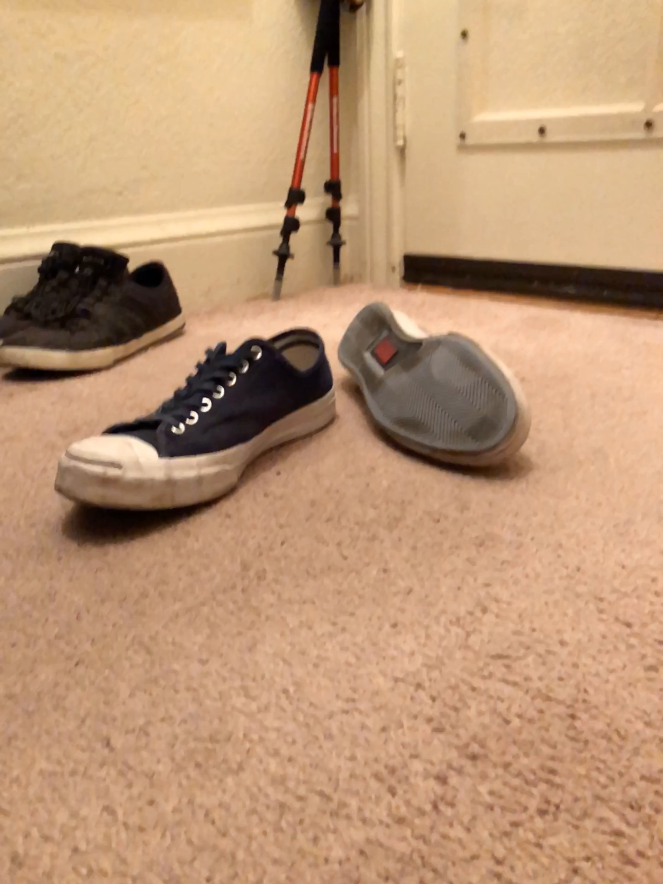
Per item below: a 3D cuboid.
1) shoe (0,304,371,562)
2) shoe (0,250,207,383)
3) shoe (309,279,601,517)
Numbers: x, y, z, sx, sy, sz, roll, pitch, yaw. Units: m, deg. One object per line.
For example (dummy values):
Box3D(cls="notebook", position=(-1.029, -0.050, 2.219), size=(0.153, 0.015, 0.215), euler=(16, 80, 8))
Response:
Box3D(cls="shoe", position=(-0.095, -0.029, 0.578), size=(0.116, 0.099, 0.287), euler=(13, 26, 33))
Box3D(cls="shoe", position=(-0.271, -0.163, 0.880), size=(0.106, 0.099, 0.297), euler=(7, 22, 18))
Box3D(cls="shoe", position=(0.088, -0.056, 0.663), size=(0.099, 0.104, 0.297), euler=(20, 13, -26))
